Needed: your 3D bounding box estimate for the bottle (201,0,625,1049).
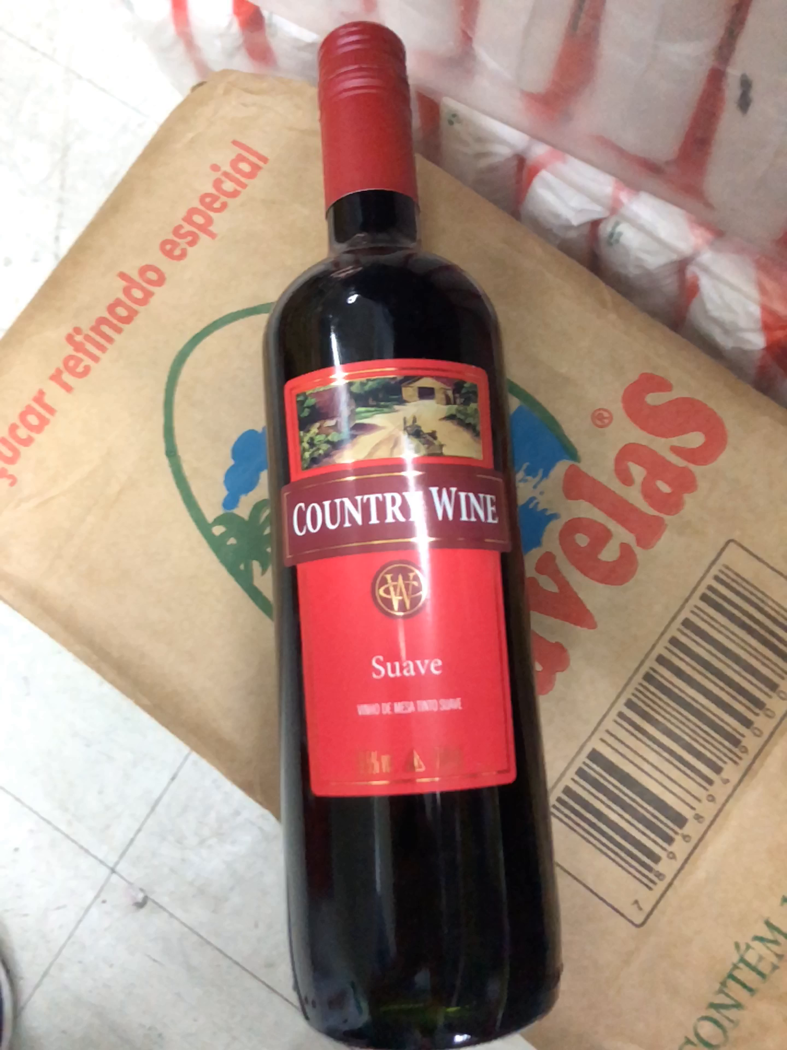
[{"bbox_3d":[0.003,-0.011,0.245,0.080,0.060,0.290,-5,84,5],"label":"bottle"}]
